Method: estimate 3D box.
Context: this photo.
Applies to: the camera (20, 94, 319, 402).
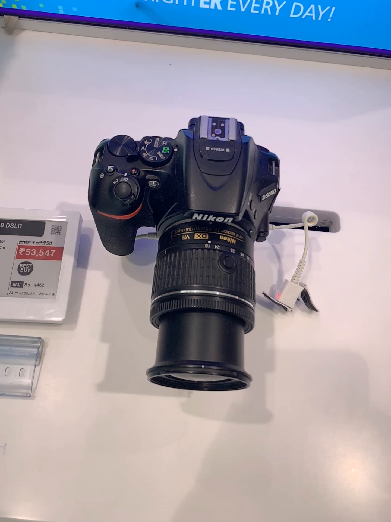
[{"bbox_3d":[-0.009,-0.002,0.233,0.116,0.100,0.141,4,63,-1],"label":"camera"}]
